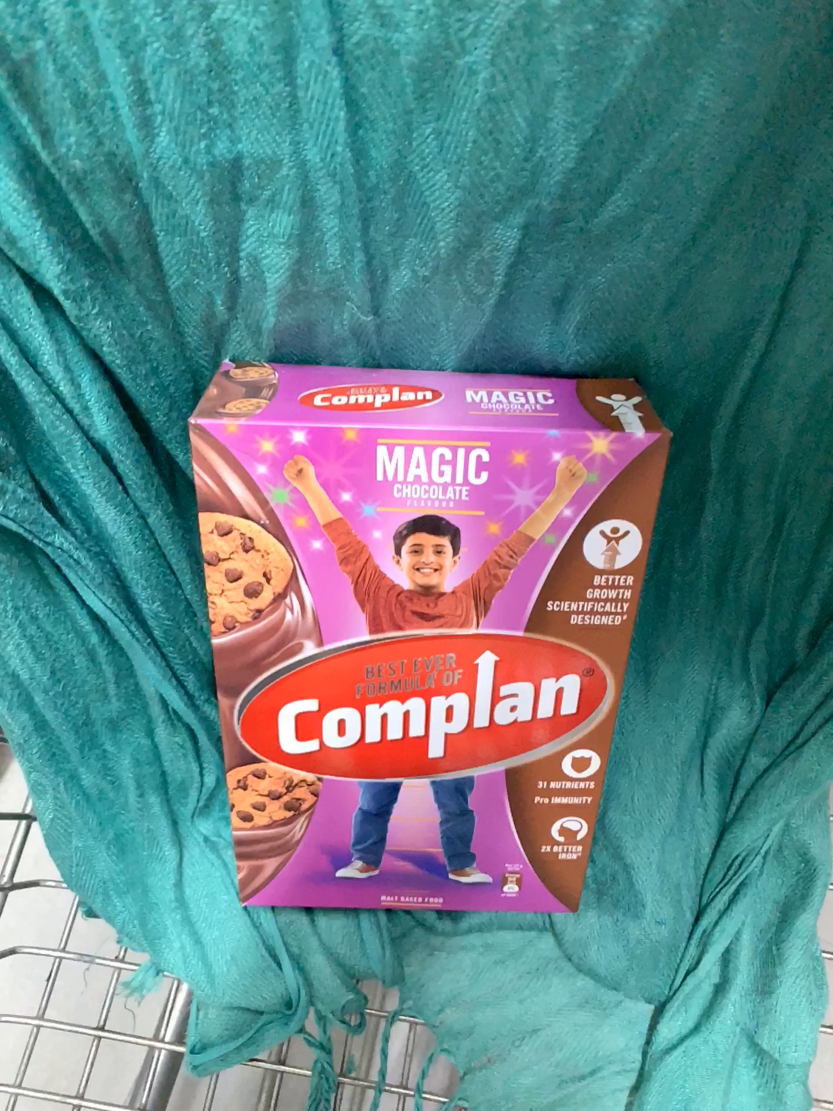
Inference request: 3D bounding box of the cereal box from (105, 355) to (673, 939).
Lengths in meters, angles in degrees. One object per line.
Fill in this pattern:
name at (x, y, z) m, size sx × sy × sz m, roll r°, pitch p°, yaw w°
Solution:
cereal box at (-0.009, 0.044, 0.316) m, size 0.160 × 0.220 × 0.050 m, roll 1°, pitch 28°, yaw 1°
